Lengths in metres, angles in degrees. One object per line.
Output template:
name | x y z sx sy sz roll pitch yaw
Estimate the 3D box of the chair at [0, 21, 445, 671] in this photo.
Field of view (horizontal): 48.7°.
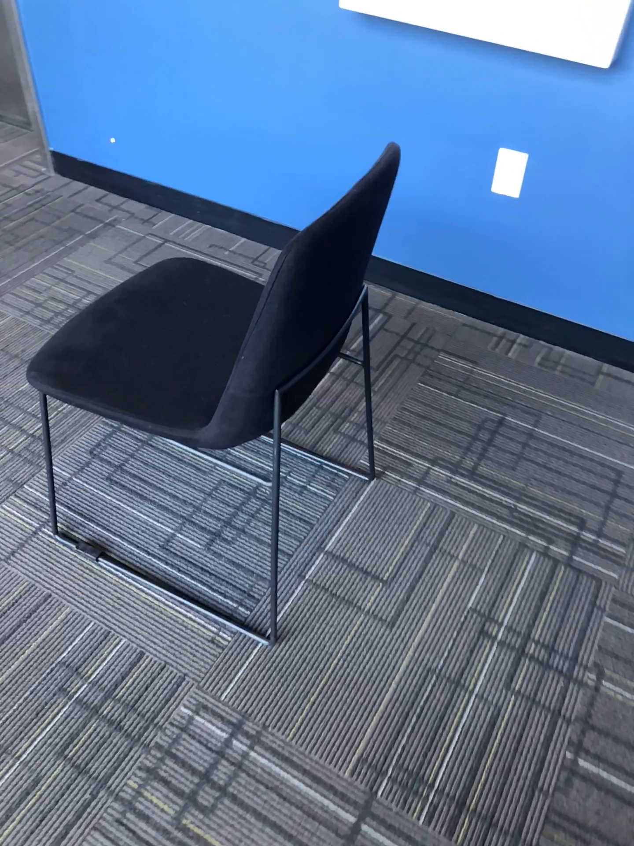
chair | -0.202 -0.127 1.163 0.551 0.766 0.562 20 47 17
